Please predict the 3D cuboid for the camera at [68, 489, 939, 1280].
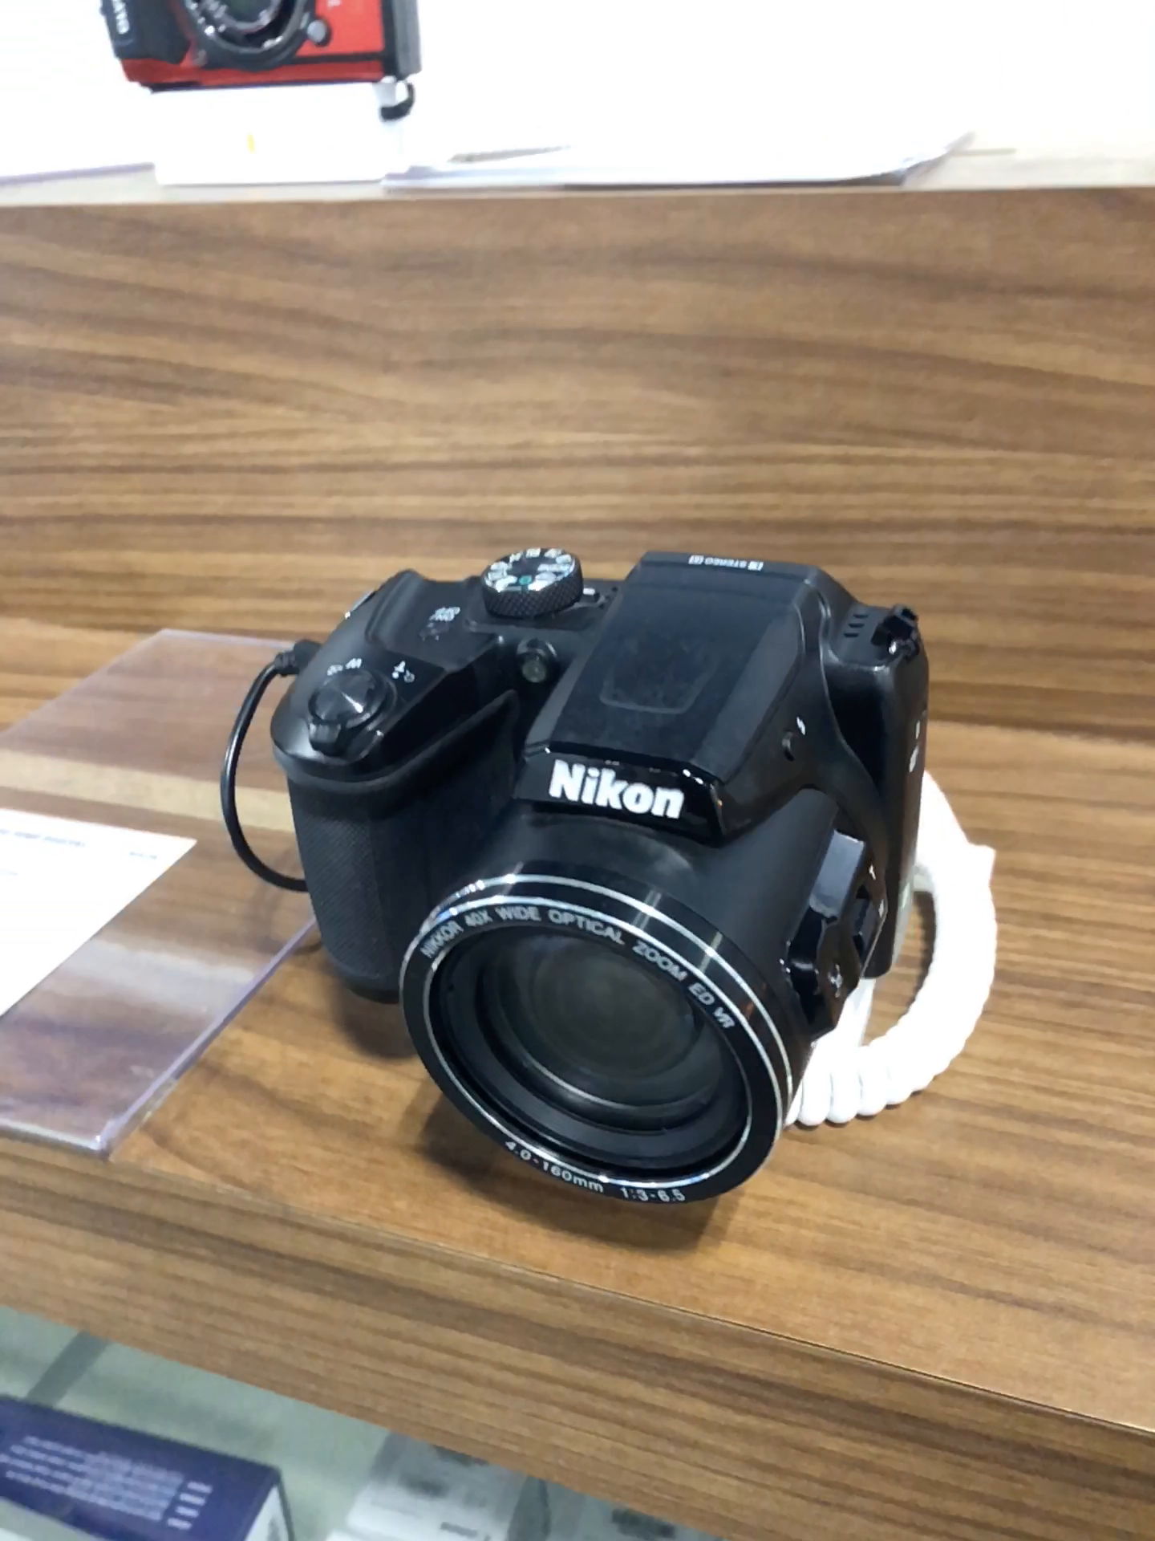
[{"bbox_3d":[-0.002,0.006,0.232,0.110,0.079,0.111,8,29,20],"label":"camera"}]
